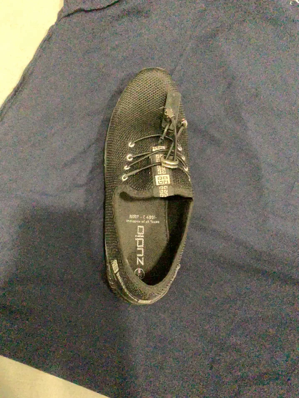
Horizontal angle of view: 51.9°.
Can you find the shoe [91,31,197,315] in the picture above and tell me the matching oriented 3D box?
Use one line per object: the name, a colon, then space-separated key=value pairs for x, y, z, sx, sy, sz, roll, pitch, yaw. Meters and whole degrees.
shoe: x=-0.006 y=-0.027 z=0.356 sx=0.100 sy=0.090 sz=0.290 roll=2 pitch=82 yaw=-7
